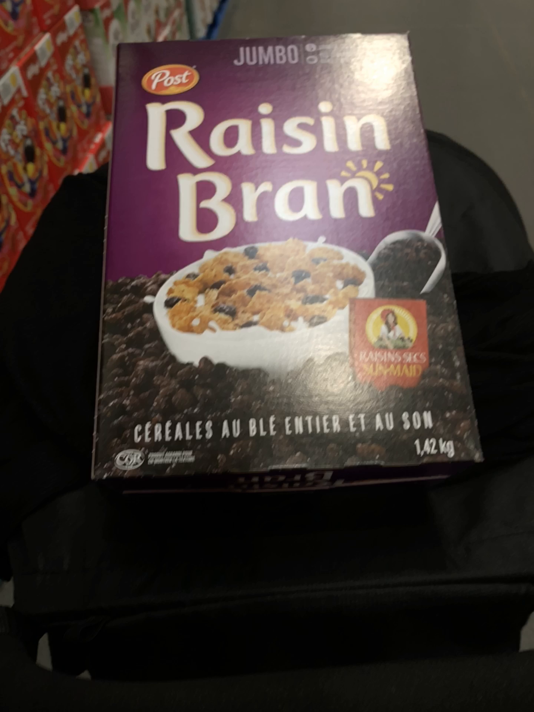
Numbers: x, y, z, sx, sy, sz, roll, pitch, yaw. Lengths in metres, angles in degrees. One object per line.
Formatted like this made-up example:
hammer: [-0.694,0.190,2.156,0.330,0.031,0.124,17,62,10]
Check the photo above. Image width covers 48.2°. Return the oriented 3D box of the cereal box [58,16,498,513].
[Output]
cereal box: [0.000,-0.057,0.385,0.210,0.110,0.291,-3,71,1]
